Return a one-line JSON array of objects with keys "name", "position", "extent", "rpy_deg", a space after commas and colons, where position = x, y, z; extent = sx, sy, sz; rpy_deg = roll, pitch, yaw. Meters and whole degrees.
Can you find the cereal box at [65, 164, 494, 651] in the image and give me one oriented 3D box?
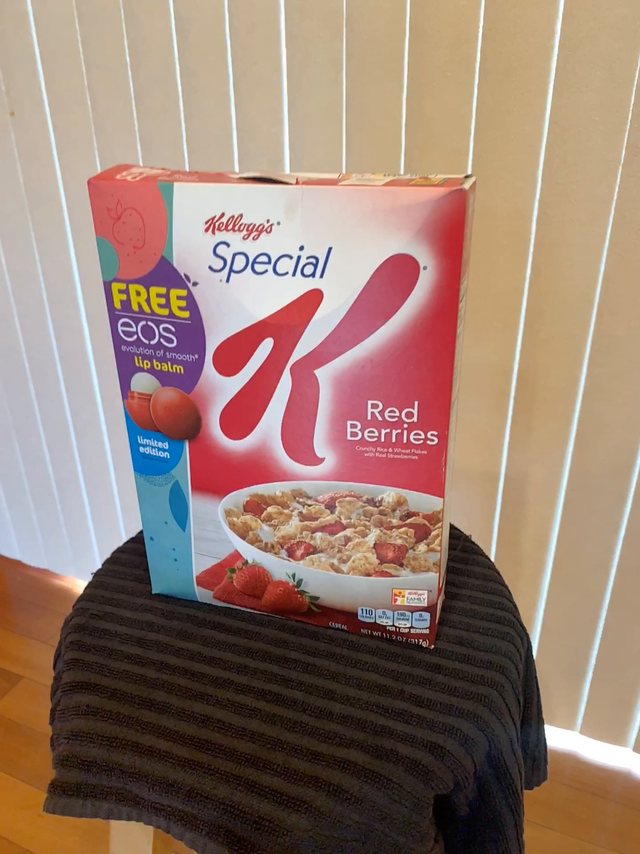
[{"name": "cereal box", "position": [-0.020, -0.007, 0.390], "extent": [0.210, 0.269, 0.050], "rpy_deg": [7, 27, 15]}]
